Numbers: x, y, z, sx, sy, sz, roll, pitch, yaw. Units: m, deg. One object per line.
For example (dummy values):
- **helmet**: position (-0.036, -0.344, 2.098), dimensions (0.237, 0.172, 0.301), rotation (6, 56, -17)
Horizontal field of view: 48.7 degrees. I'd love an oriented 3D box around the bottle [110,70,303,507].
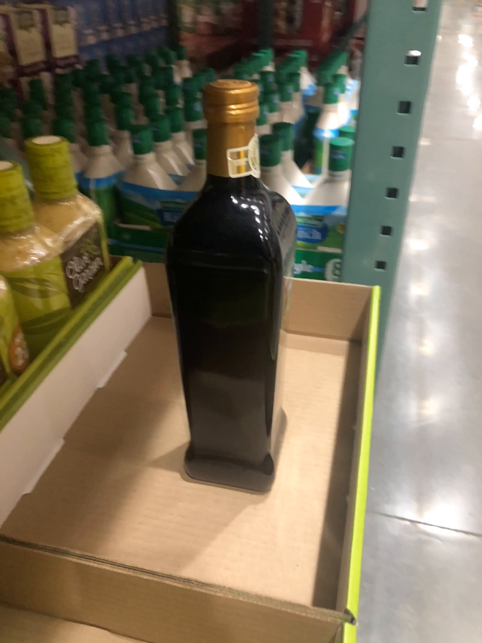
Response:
- **bottle**: position (-0.012, -0.008, 0.388), dimensions (0.090, 0.305, 0.090), rotation (-1, 33, 0)
